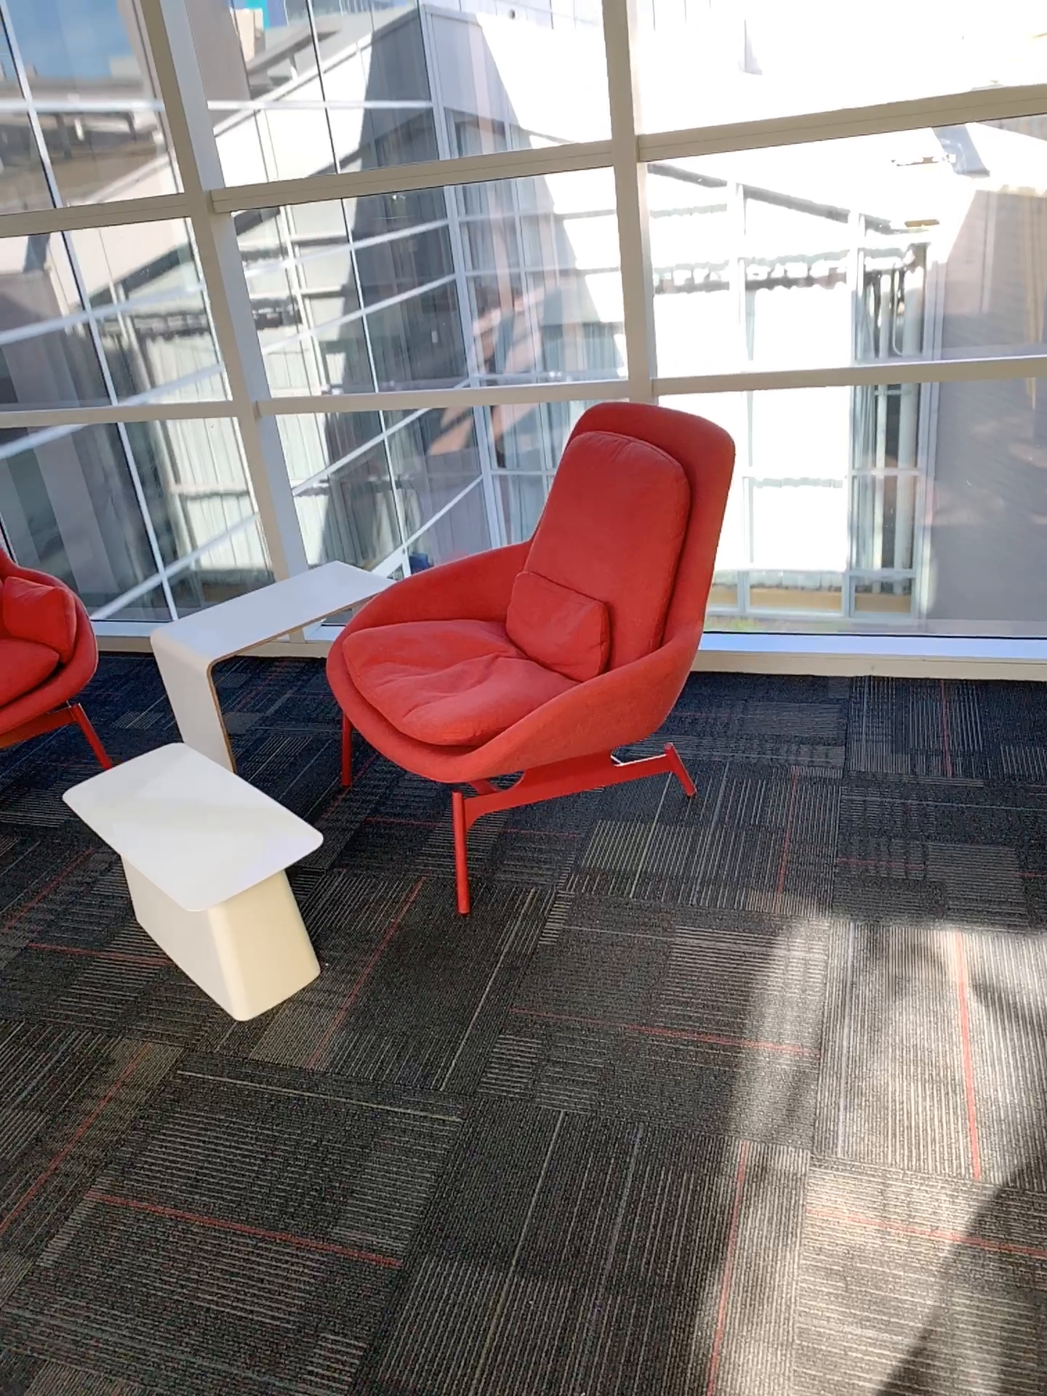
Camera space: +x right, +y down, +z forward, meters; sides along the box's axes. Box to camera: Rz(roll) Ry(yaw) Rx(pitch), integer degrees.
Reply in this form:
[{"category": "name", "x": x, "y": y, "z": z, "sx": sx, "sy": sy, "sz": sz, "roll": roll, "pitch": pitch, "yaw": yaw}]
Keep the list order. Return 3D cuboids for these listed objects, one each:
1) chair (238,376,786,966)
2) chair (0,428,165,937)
[{"category": "chair", "x": -0.003, "y": -0.157, "z": 2.648, "sx": 0.920, "sy": 0.994, "sz": 0.875, "roll": -23, "pitch": 31, "yaw": -27}, {"category": "chair", "x": -1.747, "y": -0.113, "z": 3.124, "sx": 0.871, "sy": 1.054, "sz": 0.825, "roll": -24, "pitch": 31, "yaw": -29}]
